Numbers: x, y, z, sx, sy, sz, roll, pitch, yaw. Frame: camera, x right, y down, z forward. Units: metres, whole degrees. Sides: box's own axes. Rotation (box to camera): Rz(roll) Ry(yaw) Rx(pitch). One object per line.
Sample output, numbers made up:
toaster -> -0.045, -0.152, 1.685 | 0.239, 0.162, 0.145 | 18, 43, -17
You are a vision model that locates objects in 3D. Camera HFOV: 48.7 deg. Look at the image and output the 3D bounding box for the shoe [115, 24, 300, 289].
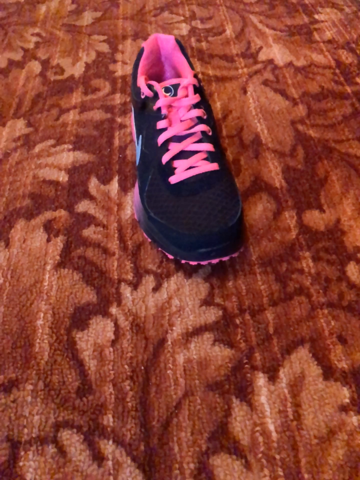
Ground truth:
shoe -> 0.008, -0.094, 0.382 | 0.110, 0.100, 0.251 | -8, 53, -5
